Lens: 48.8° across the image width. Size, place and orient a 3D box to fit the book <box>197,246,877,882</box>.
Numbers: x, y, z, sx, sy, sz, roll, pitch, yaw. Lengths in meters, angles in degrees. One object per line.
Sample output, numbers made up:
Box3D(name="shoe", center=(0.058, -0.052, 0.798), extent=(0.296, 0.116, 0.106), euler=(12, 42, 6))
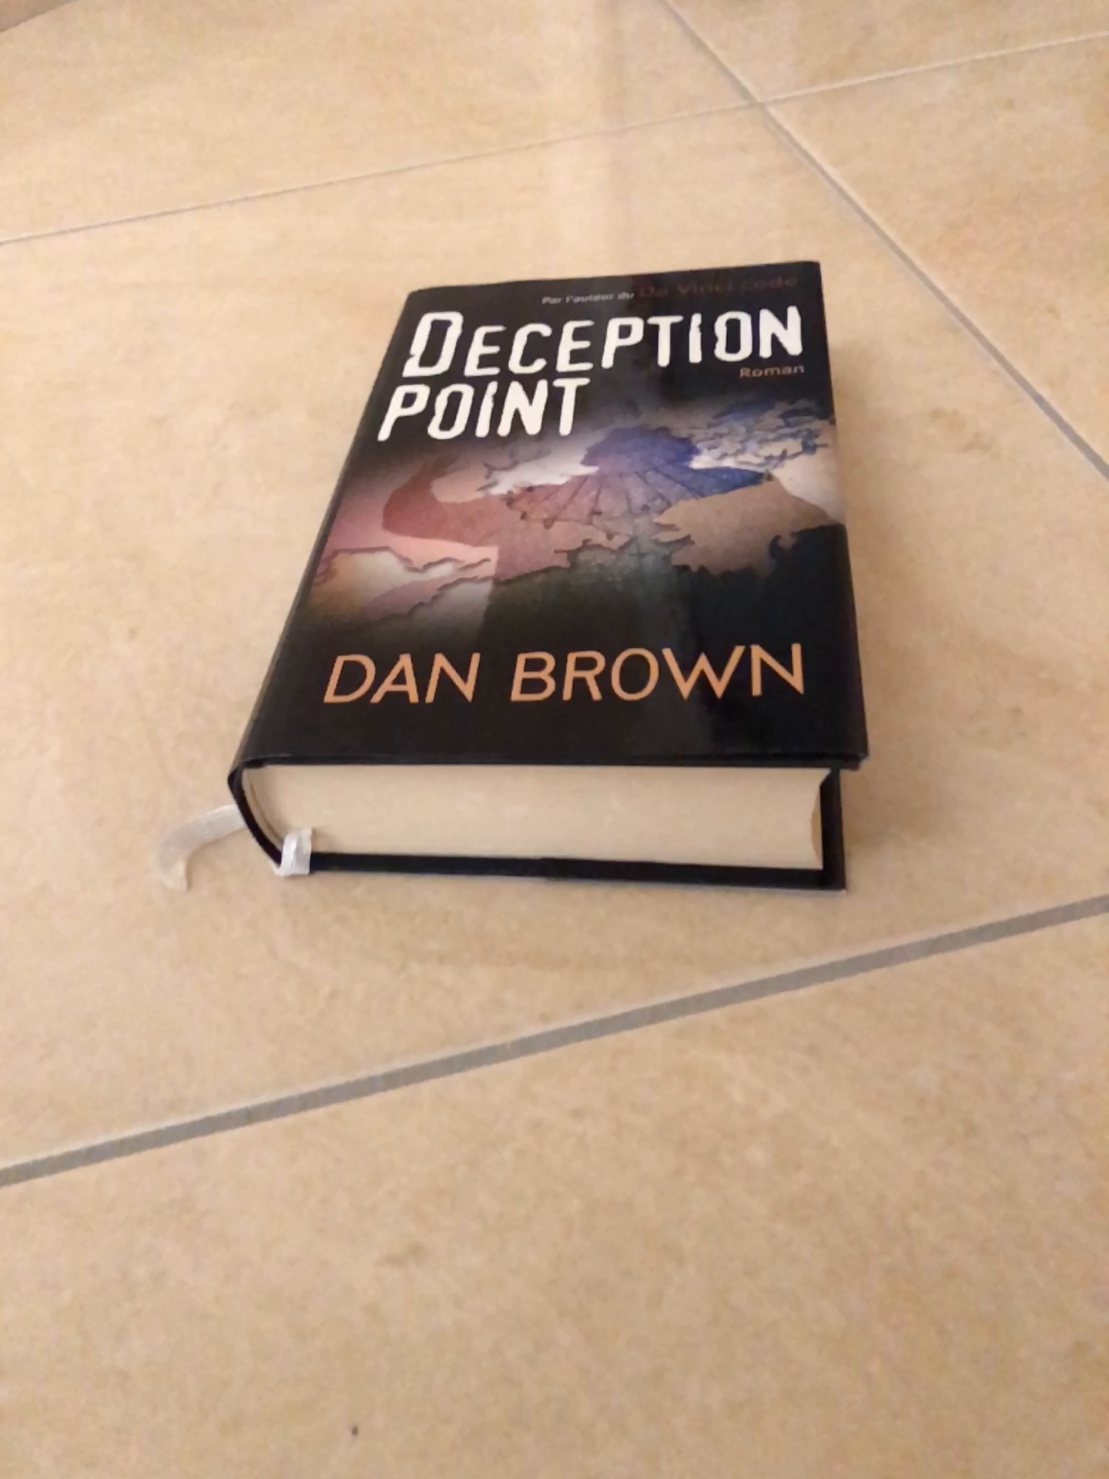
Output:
Box3D(name="book", center=(0.008, -0.060, 0.326), extent=(0.136, 0.037, 0.213), euler=(-1, 46, 10))
